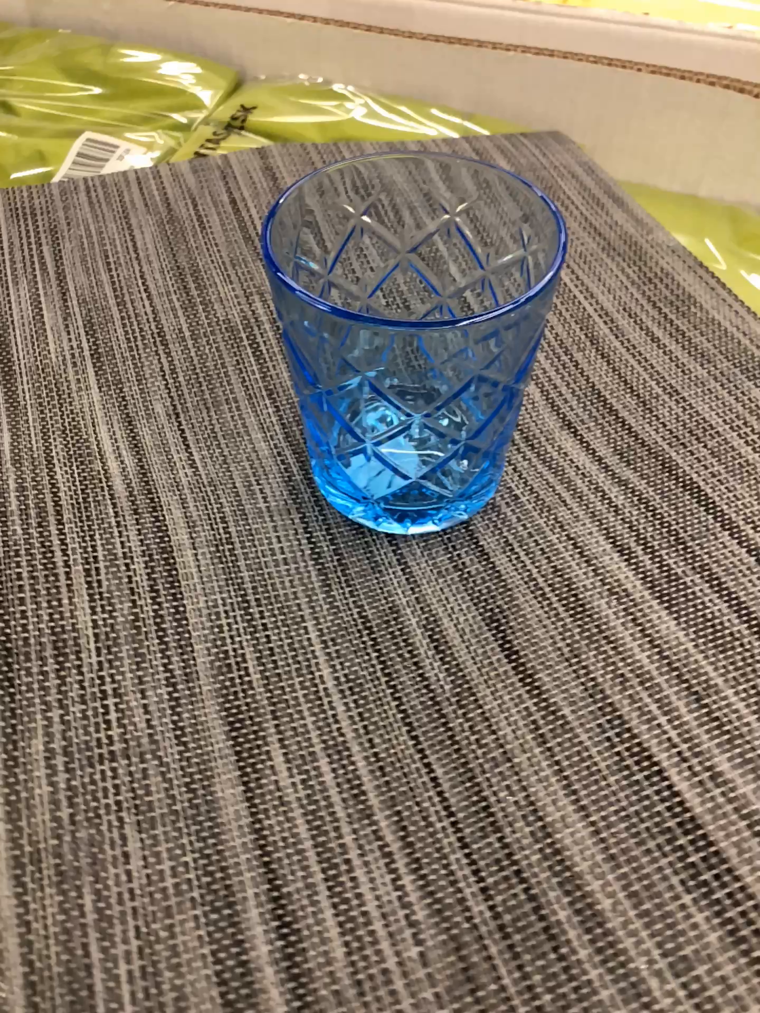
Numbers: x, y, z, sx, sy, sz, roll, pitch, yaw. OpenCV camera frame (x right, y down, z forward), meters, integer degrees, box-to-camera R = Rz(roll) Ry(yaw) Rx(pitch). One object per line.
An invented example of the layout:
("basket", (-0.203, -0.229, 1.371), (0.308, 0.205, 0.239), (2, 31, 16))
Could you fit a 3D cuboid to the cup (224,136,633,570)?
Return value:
("cup", (0.010, -0.042, 0.247), (0.090, 0.090, 0.080), (2, 49, -1))
